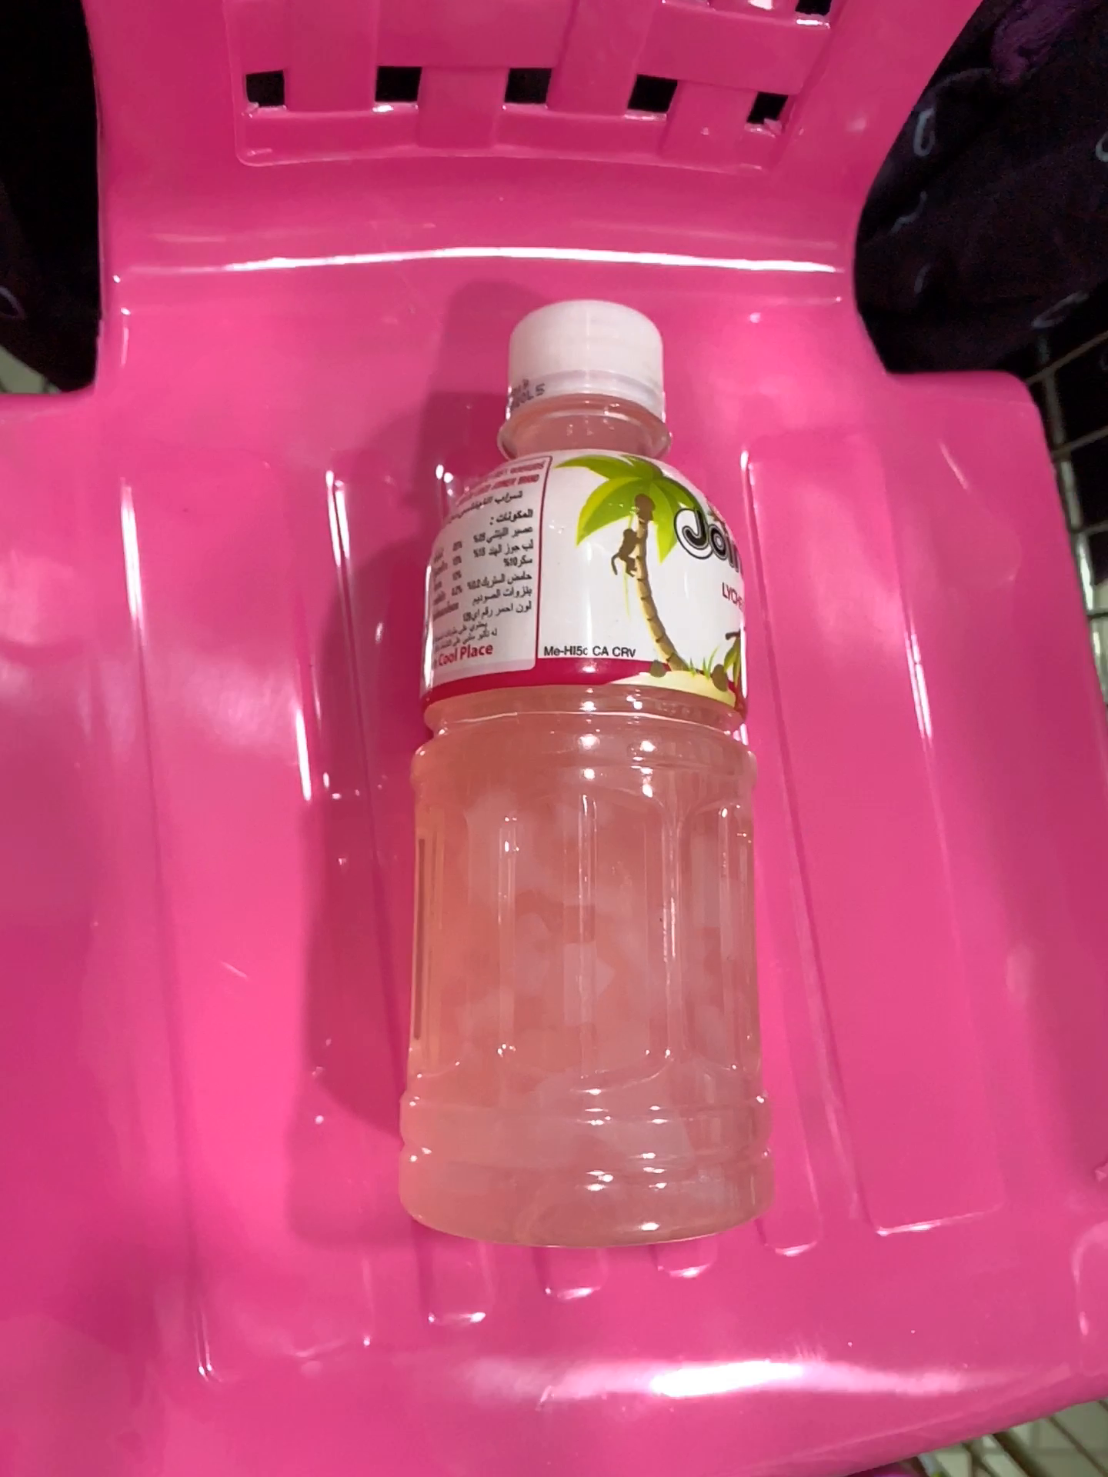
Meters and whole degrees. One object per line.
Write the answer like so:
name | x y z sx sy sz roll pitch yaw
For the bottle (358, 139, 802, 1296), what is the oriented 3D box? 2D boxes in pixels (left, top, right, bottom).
bottle | 0.007 -0.003 0.205 0.060 0.060 0.170 -3 82 17
